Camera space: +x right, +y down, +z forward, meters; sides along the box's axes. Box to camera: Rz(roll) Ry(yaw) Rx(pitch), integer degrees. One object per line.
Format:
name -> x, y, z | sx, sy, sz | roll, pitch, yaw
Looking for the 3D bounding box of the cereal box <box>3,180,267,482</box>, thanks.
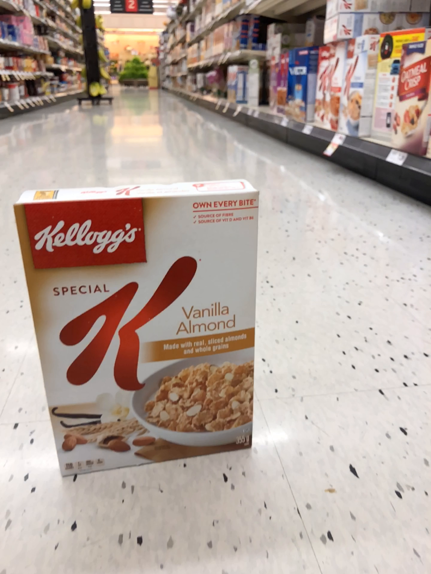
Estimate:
cereal box -> -0.061, 0.041, 0.434 | 0.200, 0.259, 0.050 | -5, 21, -11
